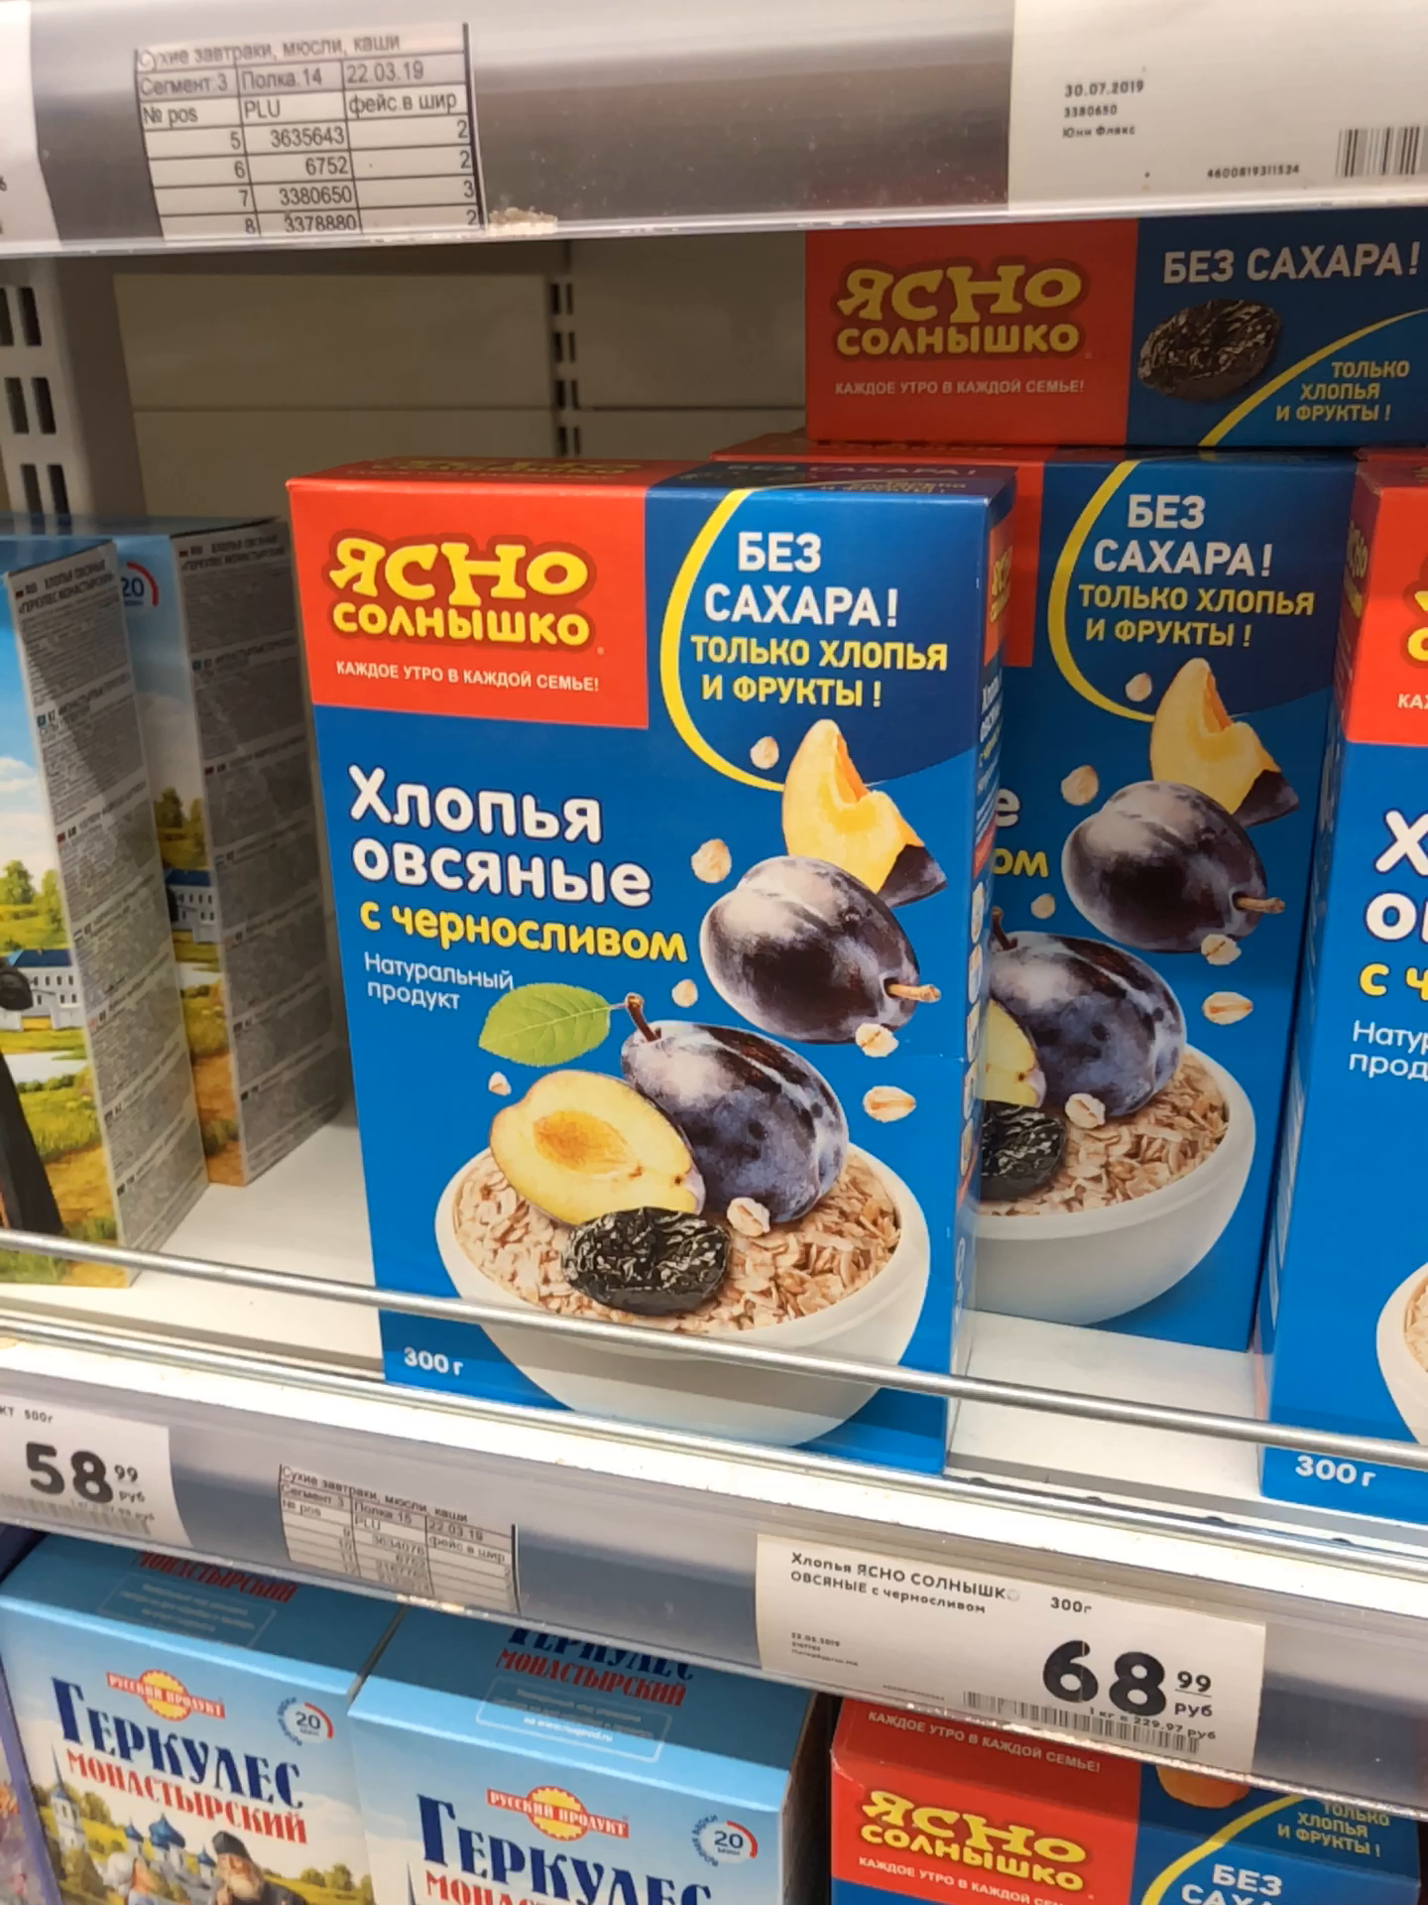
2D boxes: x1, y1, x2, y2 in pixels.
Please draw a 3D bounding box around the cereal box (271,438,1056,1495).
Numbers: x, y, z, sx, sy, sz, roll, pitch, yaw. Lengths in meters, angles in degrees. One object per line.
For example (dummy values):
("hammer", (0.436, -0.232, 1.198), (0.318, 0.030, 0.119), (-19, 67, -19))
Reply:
("cereal box", (-0.006, 0.002, 0.338), (0.140, 0.209, 0.050), (5, 22, 16))
